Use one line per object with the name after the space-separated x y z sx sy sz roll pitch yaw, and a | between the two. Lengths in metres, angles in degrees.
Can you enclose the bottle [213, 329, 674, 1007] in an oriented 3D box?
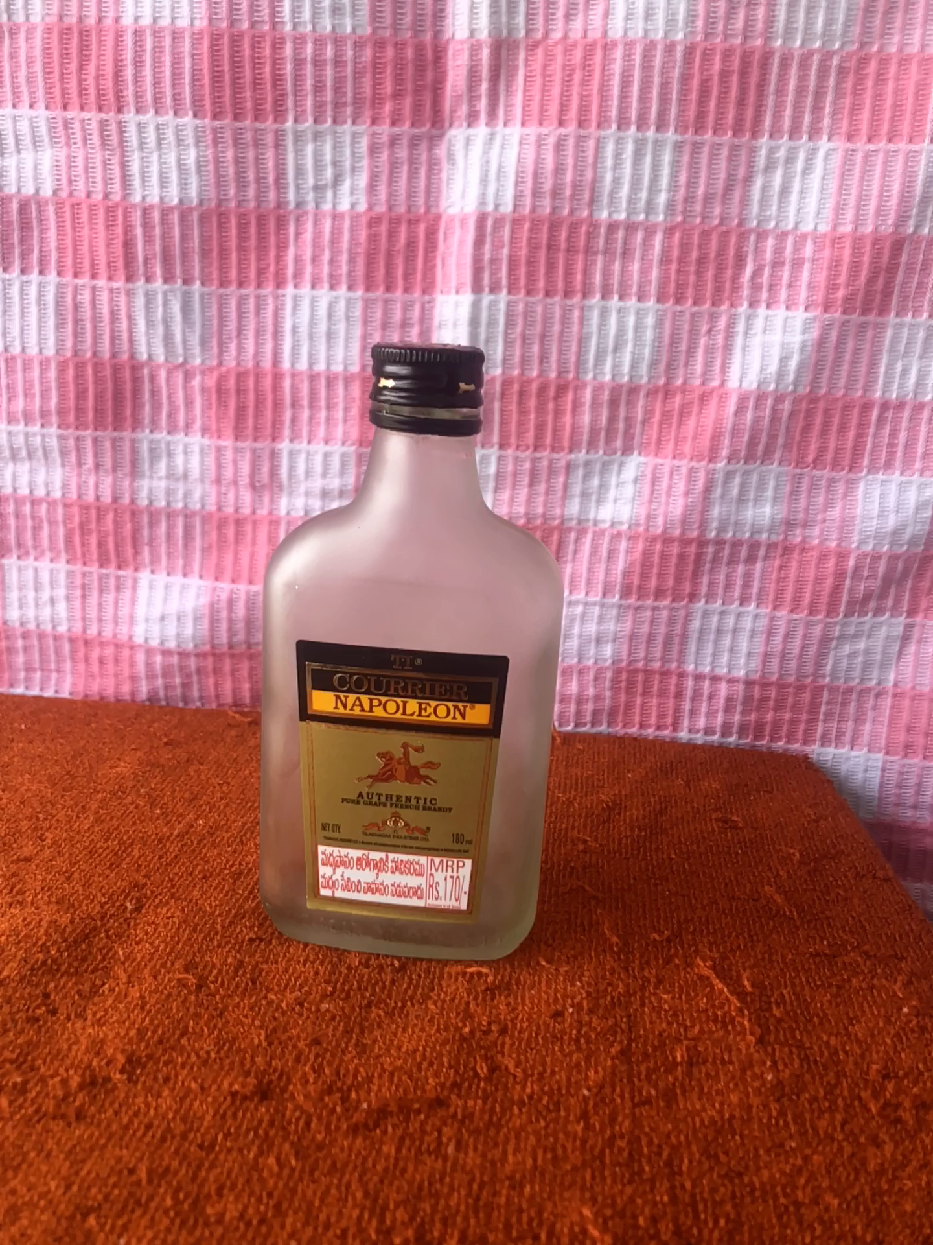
-0.008 0.008 0.226 0.080 0.129 0.050 6 19 2 | bottle
